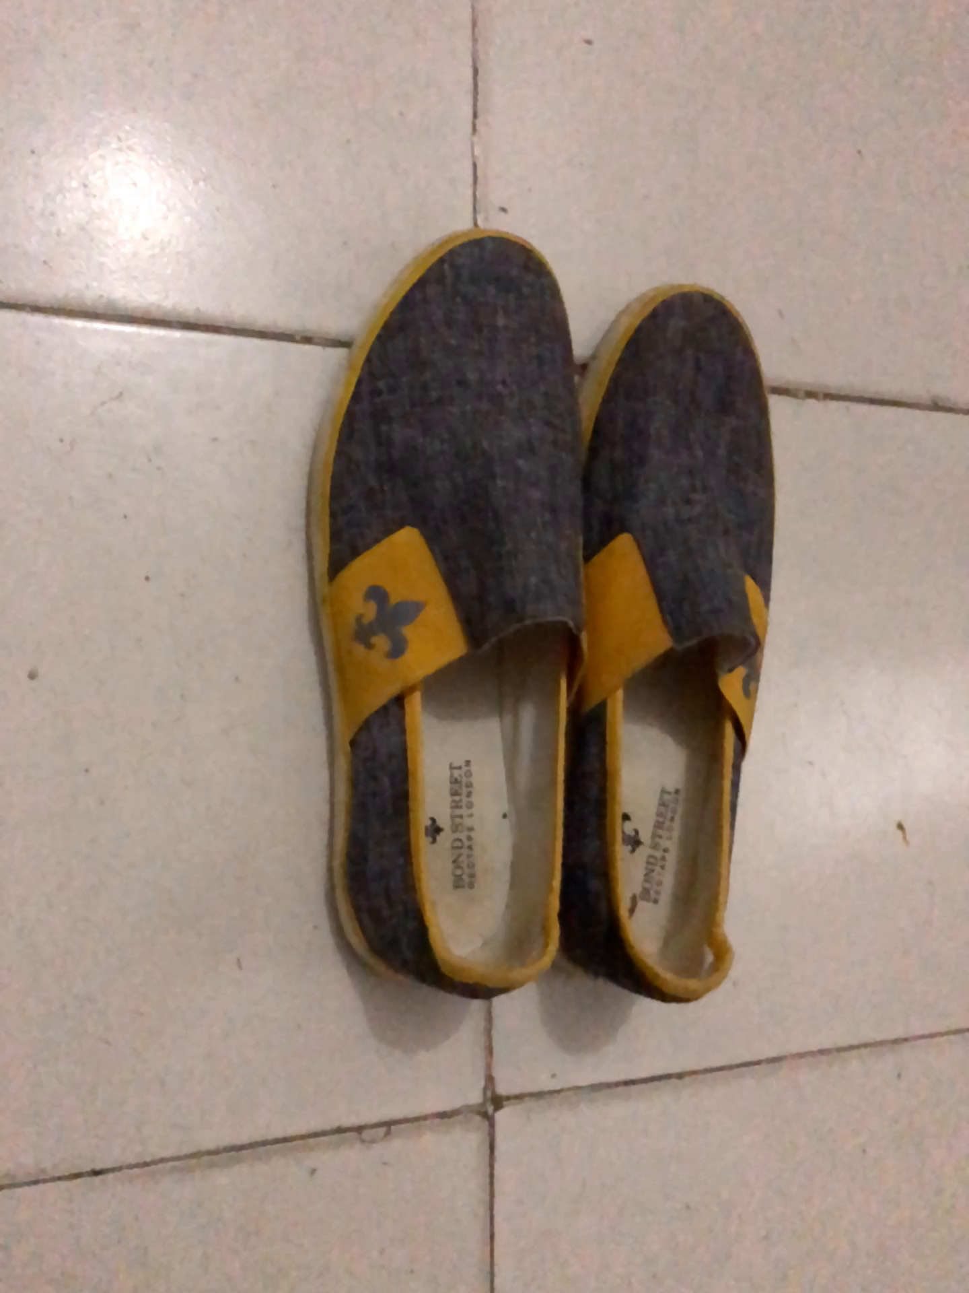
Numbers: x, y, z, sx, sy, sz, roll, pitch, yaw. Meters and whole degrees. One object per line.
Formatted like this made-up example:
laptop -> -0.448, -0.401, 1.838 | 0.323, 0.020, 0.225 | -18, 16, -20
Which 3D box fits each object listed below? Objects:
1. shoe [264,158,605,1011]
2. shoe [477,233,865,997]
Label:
shoe -> -0.023, -0.020, 0.427 | 0.100, 0.100, 0.290 | 3, 86, -21
shoe -> 0.071, -0.007, 0.426 | 0.090, 0.100, 0.260 | 9, 84, -21
